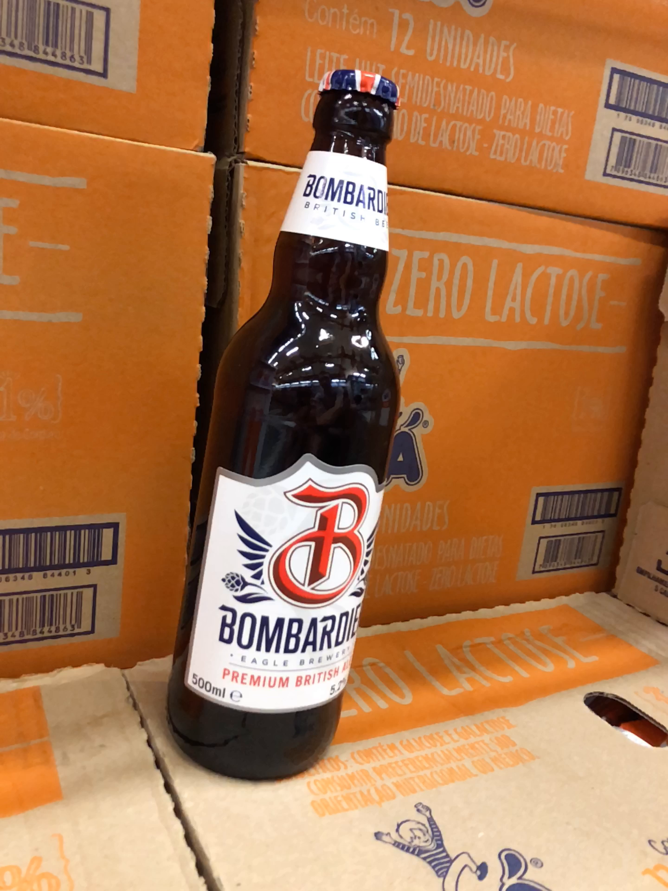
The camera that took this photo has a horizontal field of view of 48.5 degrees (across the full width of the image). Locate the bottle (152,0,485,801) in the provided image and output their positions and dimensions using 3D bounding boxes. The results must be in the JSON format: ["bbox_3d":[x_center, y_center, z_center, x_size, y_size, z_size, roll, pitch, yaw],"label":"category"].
[{"bbox_3d":[-0.013,-0.012,0.271,0.070,0.259,0.060,2,12,-28],"label":"bottle"}]
